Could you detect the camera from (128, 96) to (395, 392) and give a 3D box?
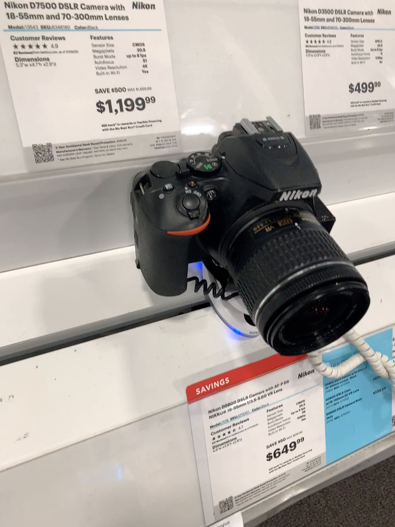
[{"bbox_3d":[0.041,-0.020,0.231,0.130,0.090,0.120,-11,51,-20],"label":"camera"}]
